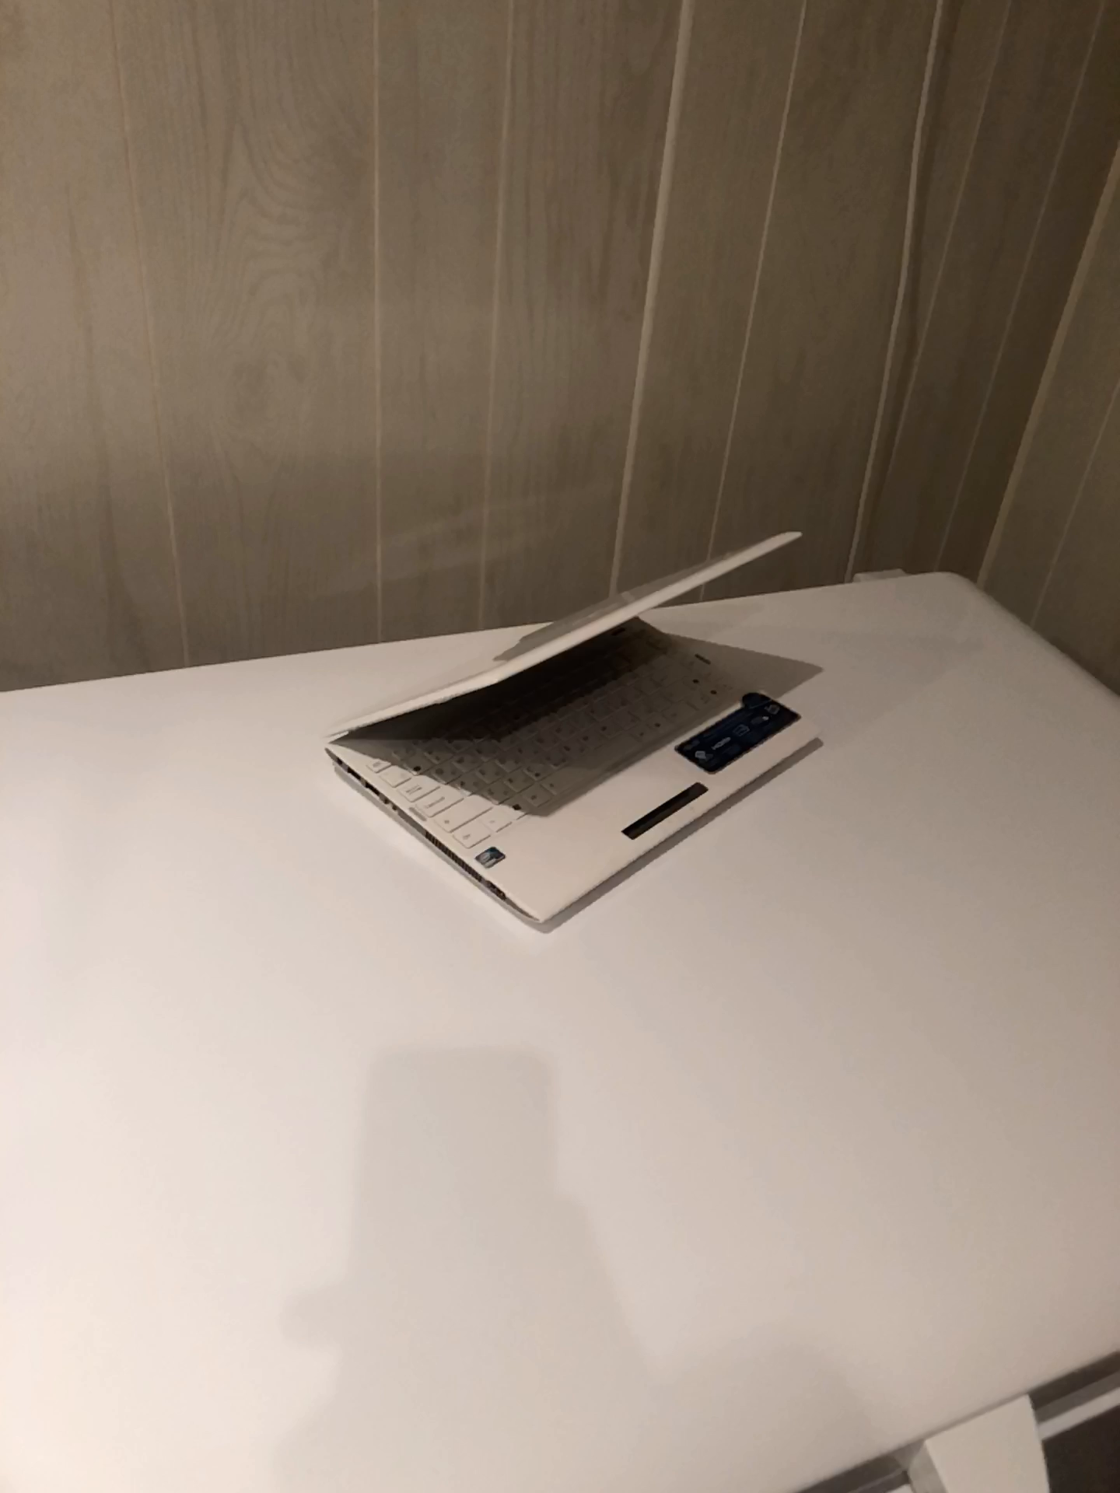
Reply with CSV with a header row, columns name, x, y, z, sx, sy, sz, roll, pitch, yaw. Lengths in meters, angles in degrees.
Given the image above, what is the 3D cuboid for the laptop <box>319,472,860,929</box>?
name,x,y,z,sx,sy,sz,roll,pitch,yaw
laptop,0.025,-0.050,0.819,0.198,0.115,0.300,35,45,28
